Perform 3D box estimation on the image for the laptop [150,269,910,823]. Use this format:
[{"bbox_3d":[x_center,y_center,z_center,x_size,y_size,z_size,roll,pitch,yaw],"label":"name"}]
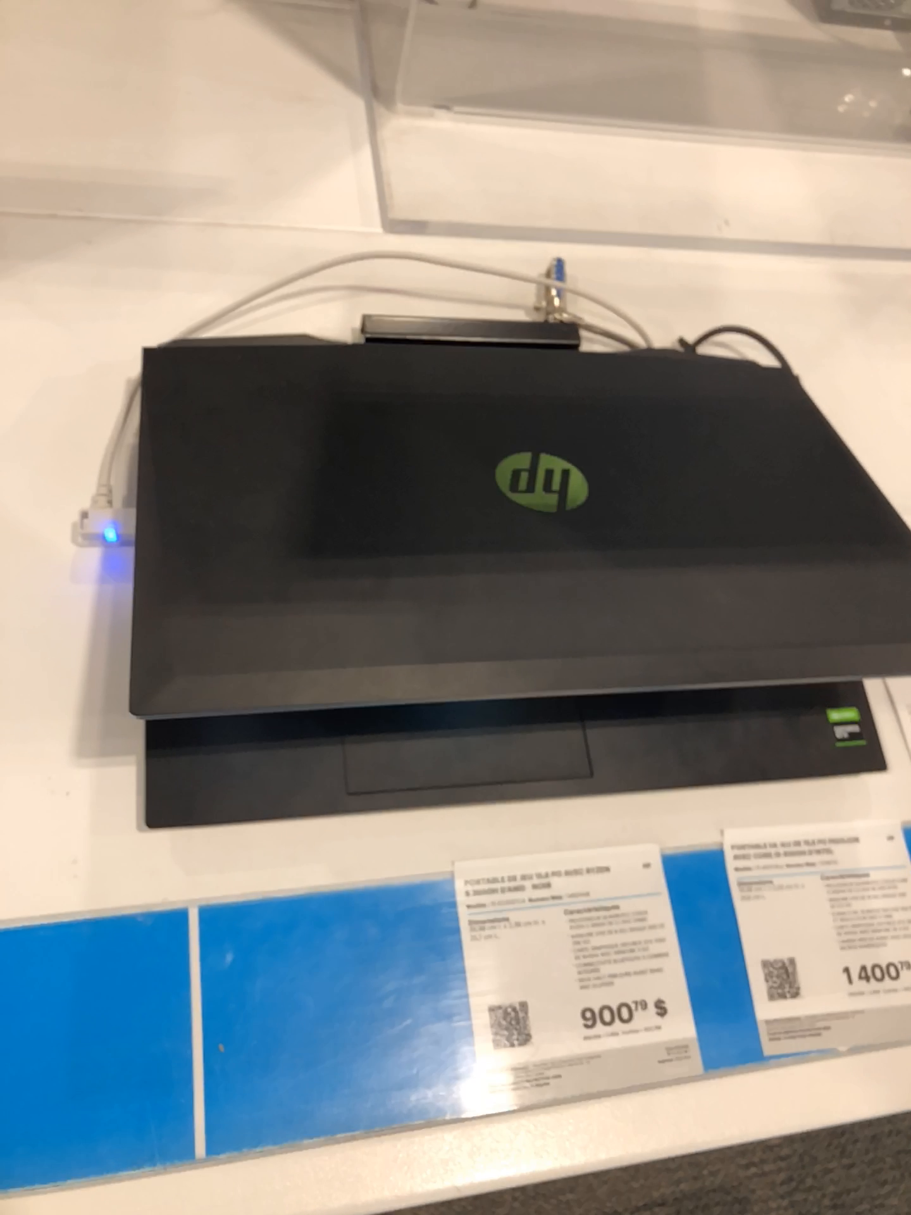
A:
[{"bbox_3d":[0.037,-0.035,0.472,0.339,0.065,0.221,-2,72,-15],"label":"laptop"}]
